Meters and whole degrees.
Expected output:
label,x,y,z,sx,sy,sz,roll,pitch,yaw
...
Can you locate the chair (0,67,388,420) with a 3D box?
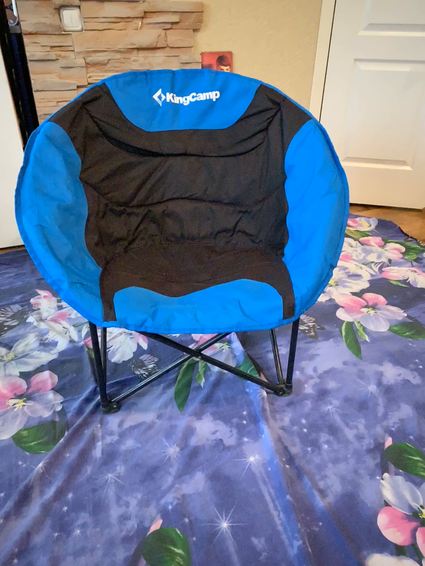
label,x,y,z,sx,sy,sz,roll,pitch,yaw
chair,-0.083,-0.151,1.229,0.760,0.772,0.613,-3,31,-5
